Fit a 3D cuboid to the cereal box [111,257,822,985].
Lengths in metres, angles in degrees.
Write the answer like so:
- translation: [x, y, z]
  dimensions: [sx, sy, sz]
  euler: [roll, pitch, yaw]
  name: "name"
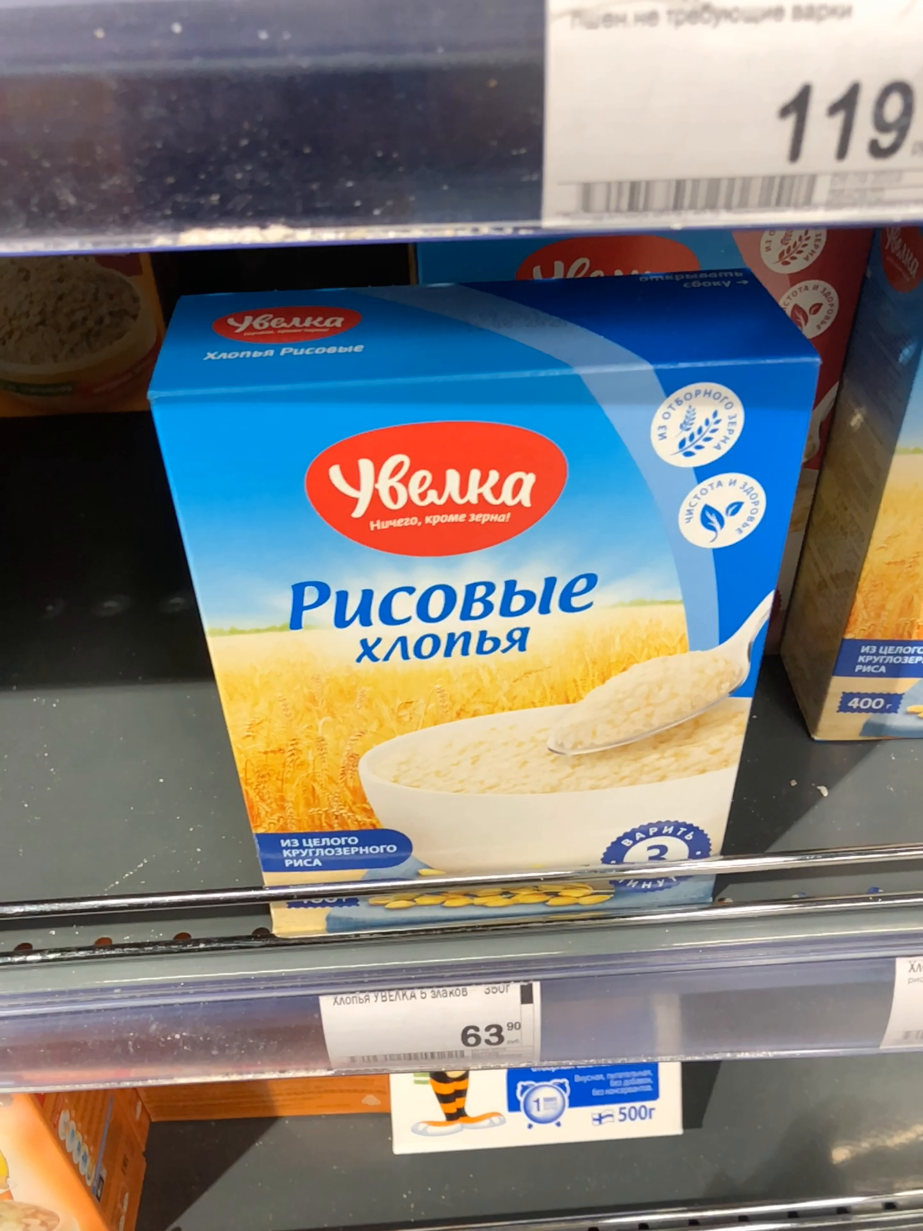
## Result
- translation: [0.002, 0.014, 0.286]
  dimensions: [0.140, 0.199, 0.060]
  euler: [-4, 39, -4]
  name: "cereal box"
